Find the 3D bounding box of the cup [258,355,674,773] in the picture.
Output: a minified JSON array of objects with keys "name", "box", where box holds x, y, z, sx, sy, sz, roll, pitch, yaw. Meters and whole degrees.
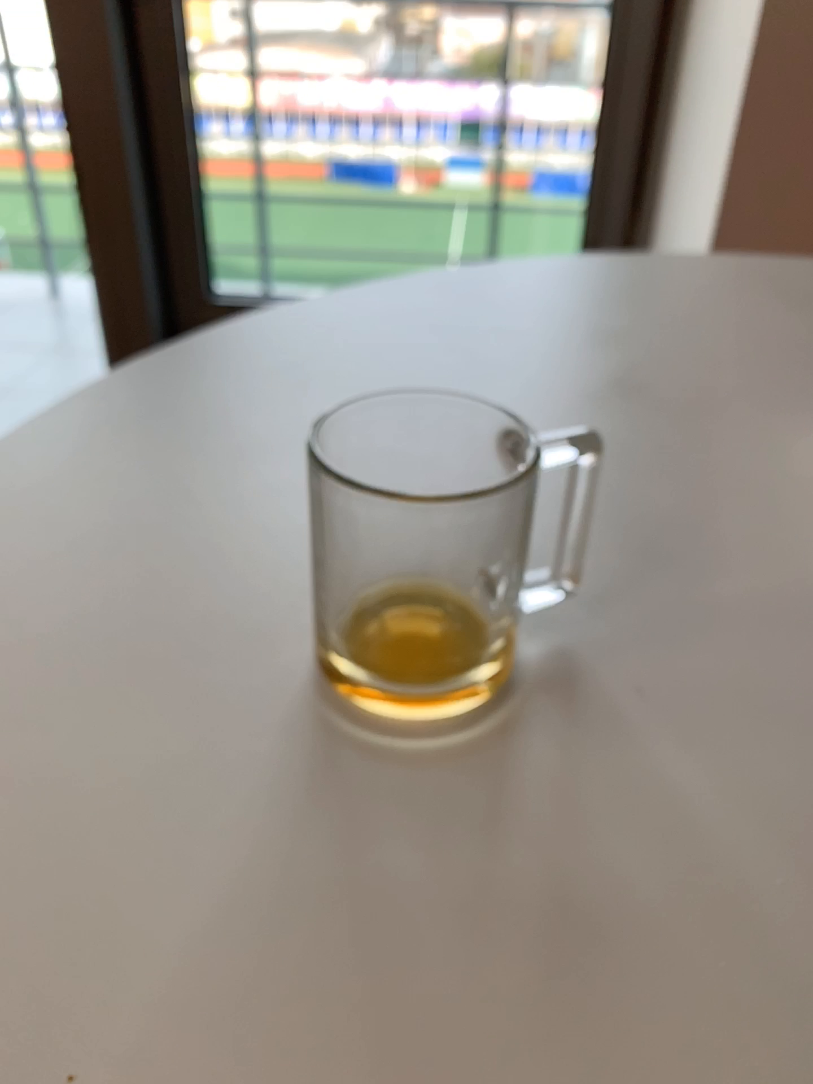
[{"name":"cup","box":[0.012,0.002,0.285,0.101,0.090,0.082,-10,36,-16]}]
